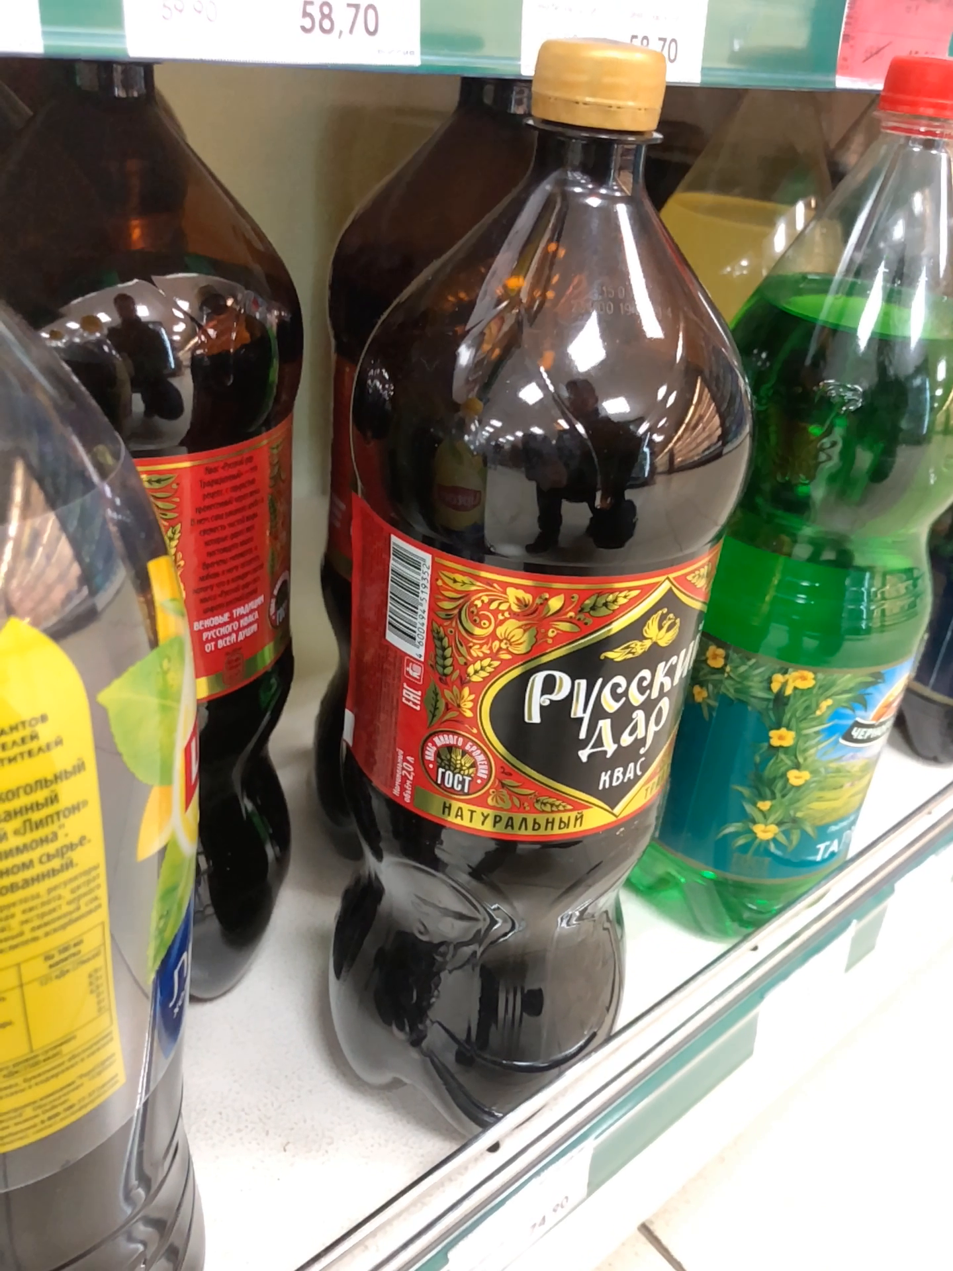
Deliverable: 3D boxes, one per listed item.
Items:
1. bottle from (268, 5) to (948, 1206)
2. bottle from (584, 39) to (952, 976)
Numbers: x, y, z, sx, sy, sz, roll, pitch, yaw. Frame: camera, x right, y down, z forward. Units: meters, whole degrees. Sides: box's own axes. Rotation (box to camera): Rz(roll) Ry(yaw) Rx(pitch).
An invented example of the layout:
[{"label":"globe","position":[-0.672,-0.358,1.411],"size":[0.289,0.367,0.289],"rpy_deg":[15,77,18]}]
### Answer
[{"label":"bottle","position":[0.012,0.008,0.315],"size":[0.110,0.322,0.100],"rpy_deg":[5,32,-3]},{"label":"bottle","position":[0.130,-0.032,0.401],"size":[0.099,0.327,0.085],"rpy_deg":[-18,39,-33]}]
